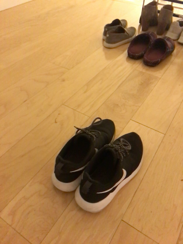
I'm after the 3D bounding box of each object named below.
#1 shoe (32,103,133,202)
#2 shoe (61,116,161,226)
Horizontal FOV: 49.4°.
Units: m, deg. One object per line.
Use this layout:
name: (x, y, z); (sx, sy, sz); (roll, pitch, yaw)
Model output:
shoe: (-0.013, 0.067, 0.565); (0.130, 0.070, 0.271); (31, 52, 25)
shoe: (0.061, 0.110, 0.529); (0.120, 0.070, 0.271); (31, 52, 25)
